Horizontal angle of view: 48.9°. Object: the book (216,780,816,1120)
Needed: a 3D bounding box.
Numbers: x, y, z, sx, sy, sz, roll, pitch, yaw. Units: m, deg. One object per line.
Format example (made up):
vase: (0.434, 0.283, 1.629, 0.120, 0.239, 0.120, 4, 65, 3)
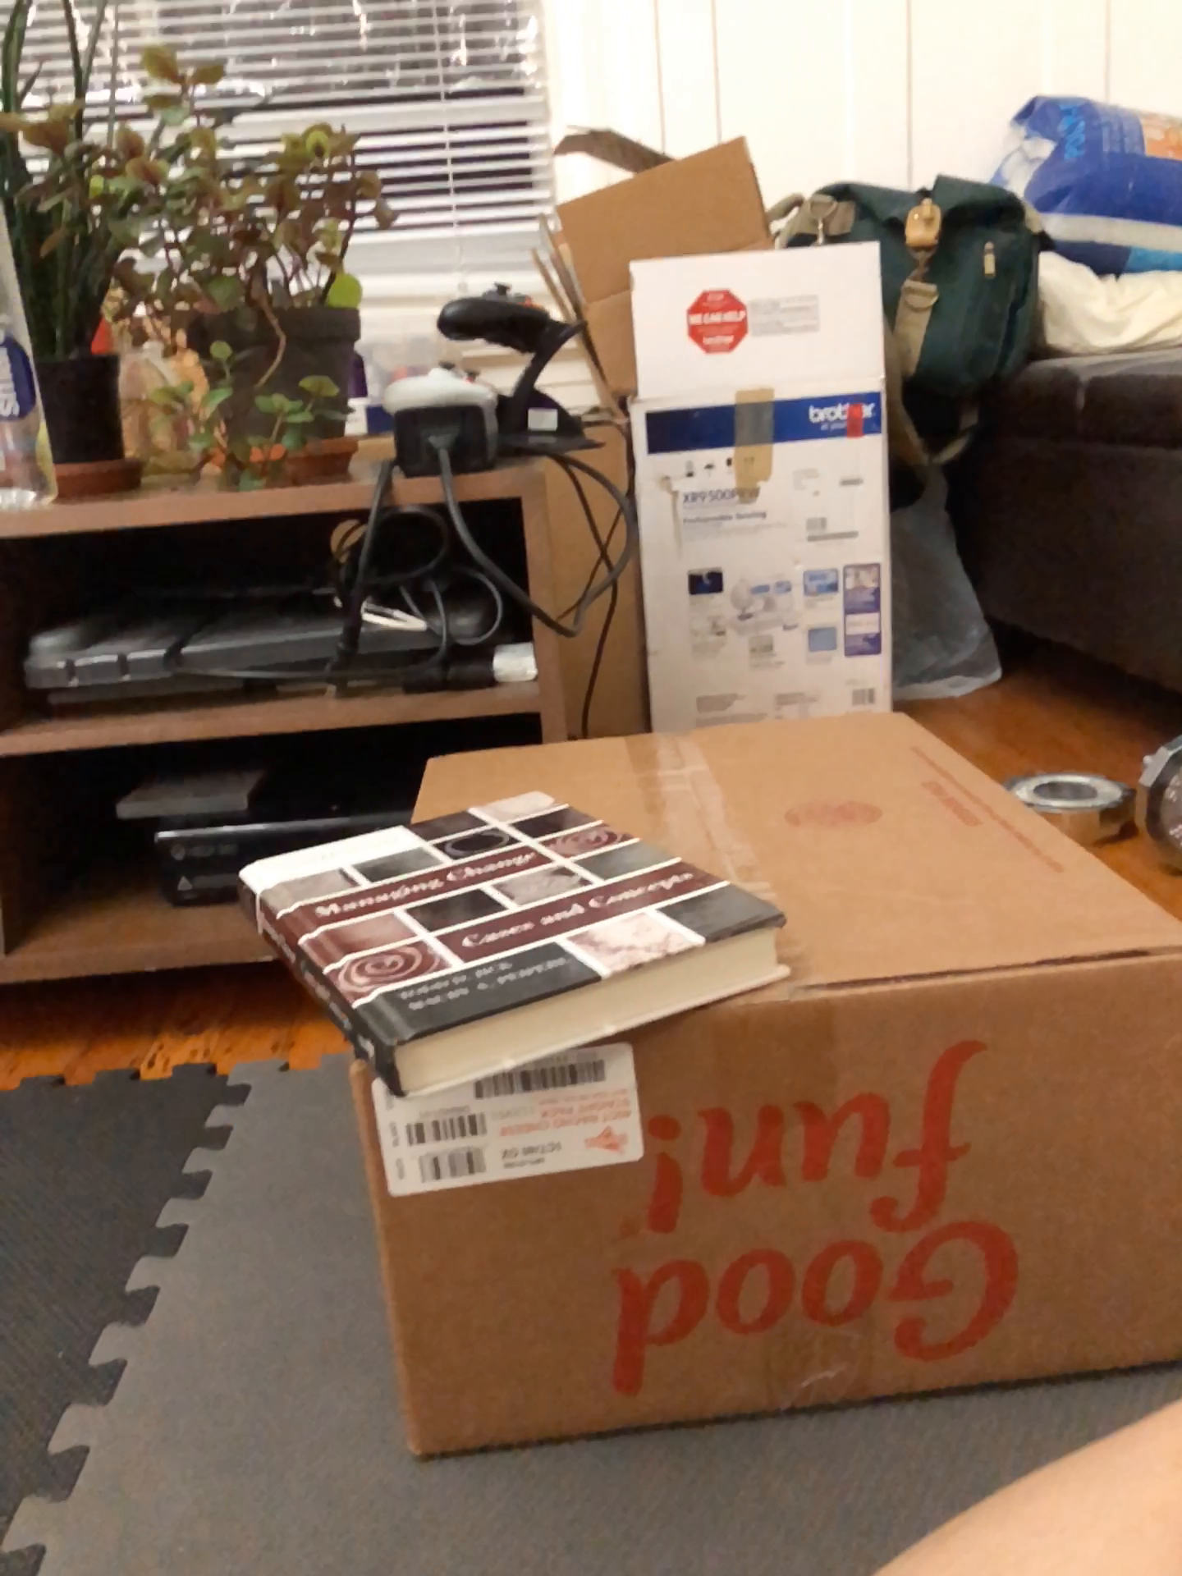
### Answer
book: (-0.049, 0.054, 0.585, 0.180, 0.030, 0.251, -13, 18, -25)
